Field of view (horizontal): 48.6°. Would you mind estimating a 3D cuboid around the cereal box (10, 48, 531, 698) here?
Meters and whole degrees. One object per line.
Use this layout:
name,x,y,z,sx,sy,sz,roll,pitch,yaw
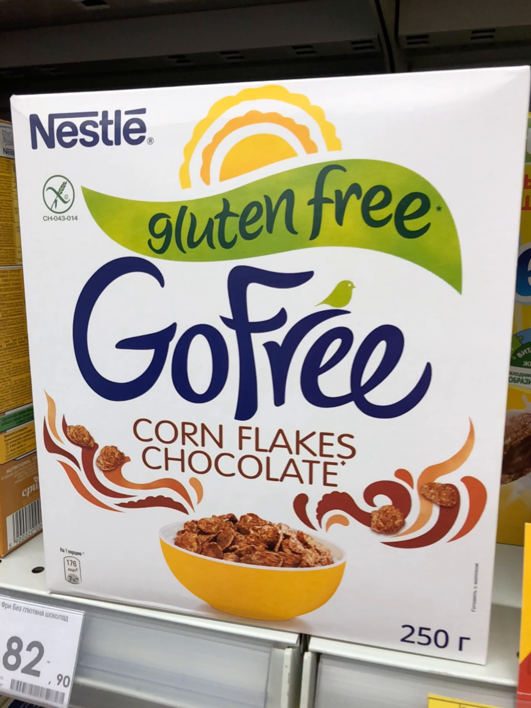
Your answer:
cereal box,0.002,0.006,0.246,0.200,0.219,0.050,4,10,16
